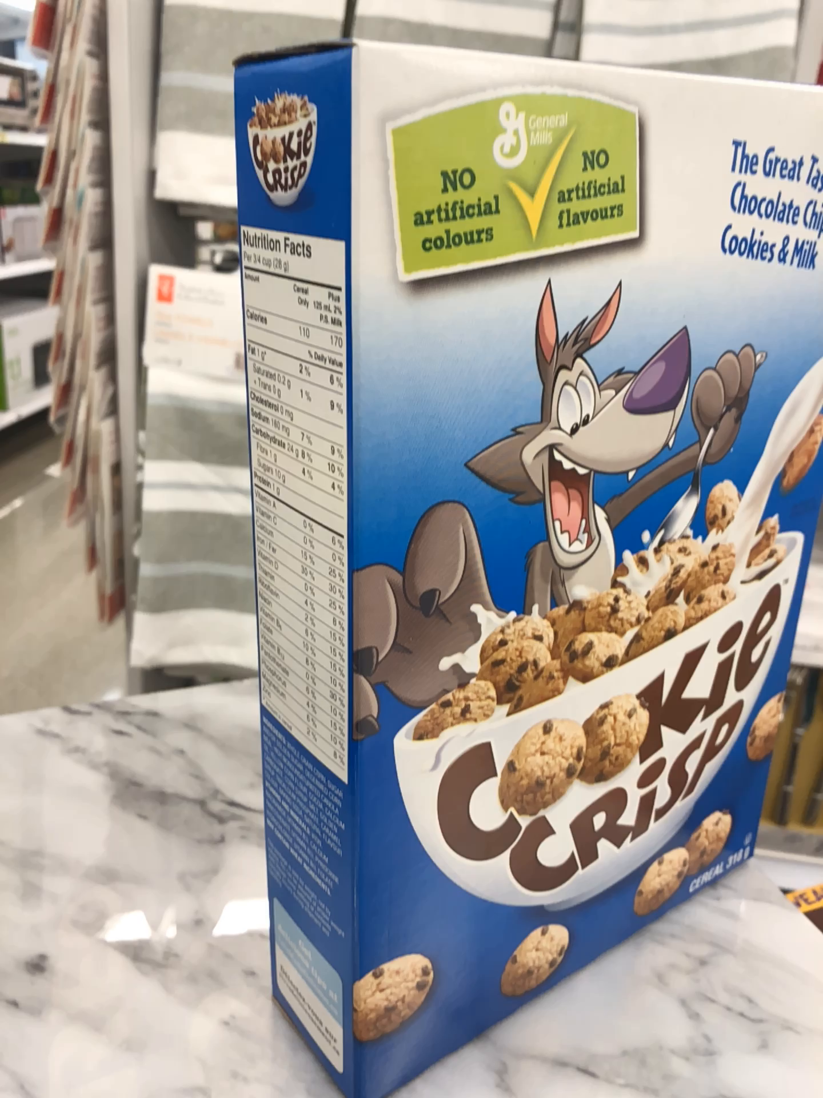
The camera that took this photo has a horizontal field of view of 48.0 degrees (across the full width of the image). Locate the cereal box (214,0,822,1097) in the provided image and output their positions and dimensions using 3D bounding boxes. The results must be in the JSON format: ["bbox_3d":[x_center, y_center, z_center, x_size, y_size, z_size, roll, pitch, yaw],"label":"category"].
[{"bbox_3d":[0.057,-0.004,0.275,0.210,0.269,0.050,-15,27,-35],"label":"cereal box"}]
